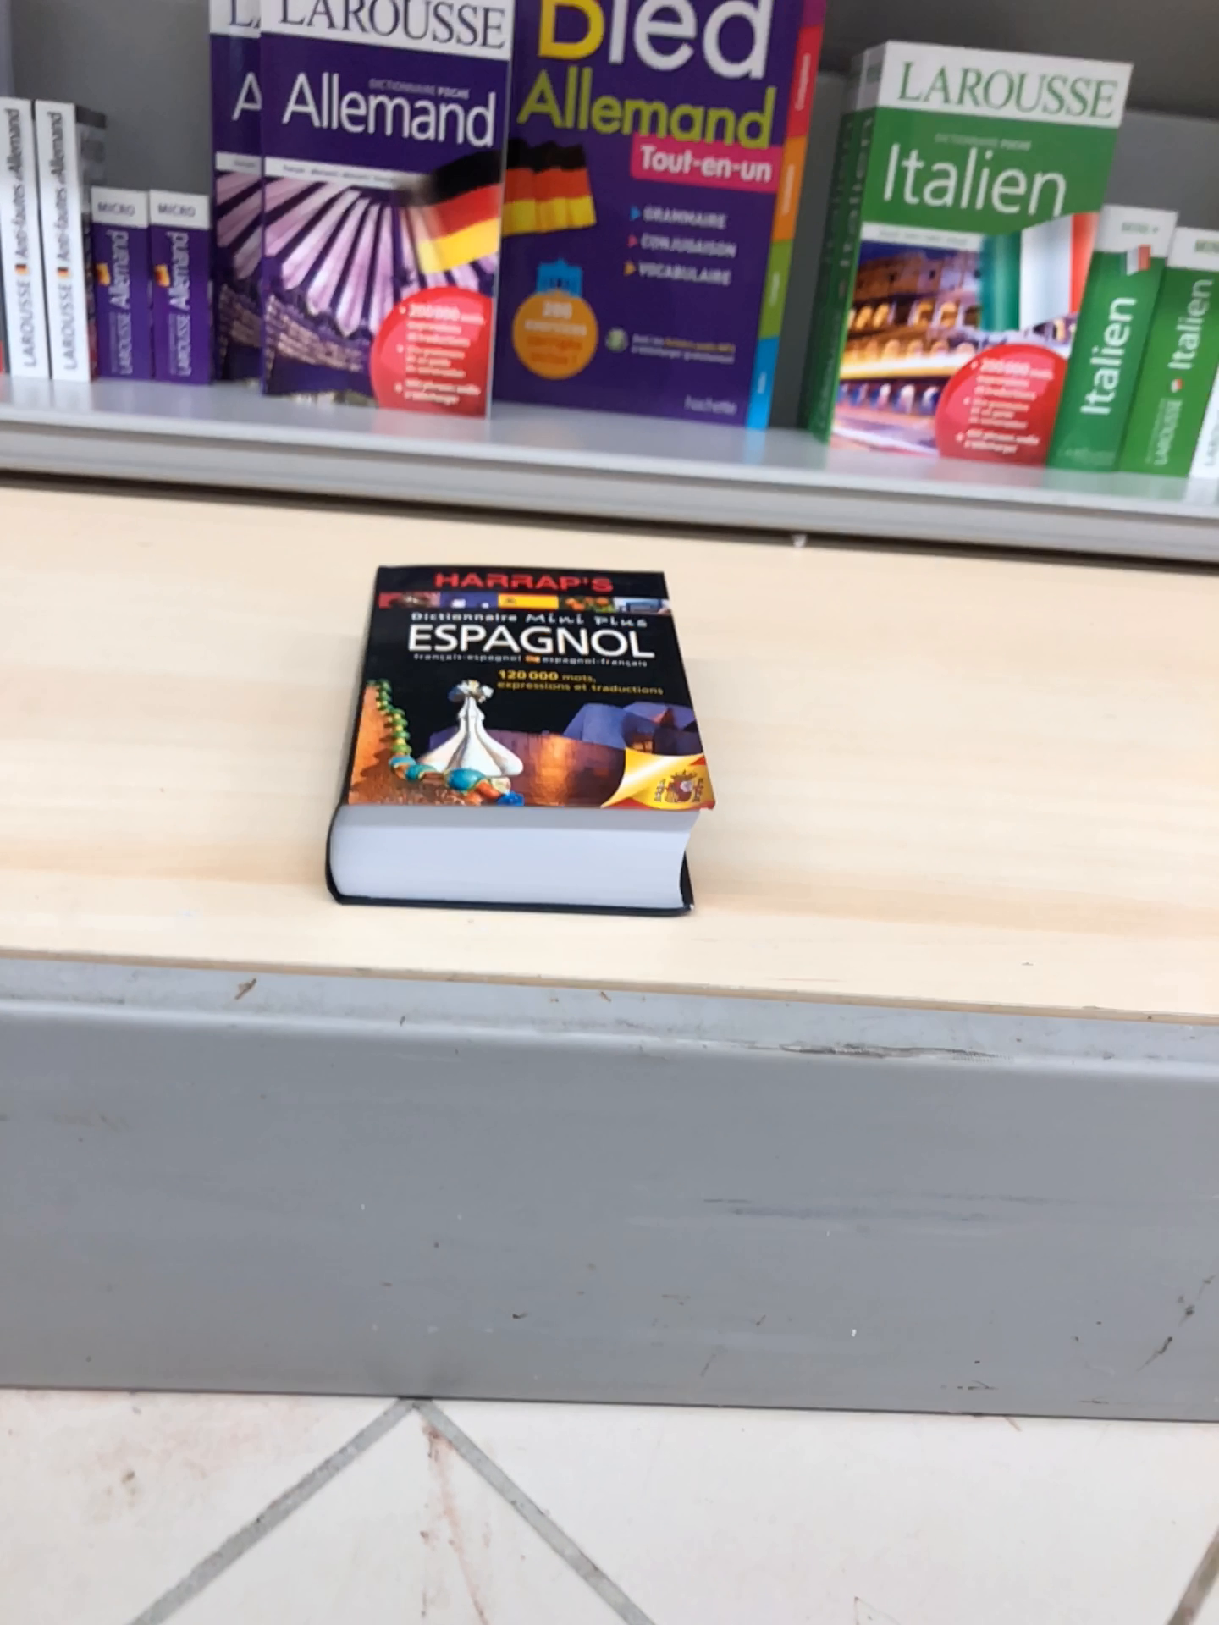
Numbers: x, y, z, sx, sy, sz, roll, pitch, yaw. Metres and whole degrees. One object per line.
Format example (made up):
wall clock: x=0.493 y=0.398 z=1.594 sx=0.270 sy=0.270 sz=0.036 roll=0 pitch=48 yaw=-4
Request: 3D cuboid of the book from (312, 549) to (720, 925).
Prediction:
book: x=-0.028 y=-0.029 z=0.412 sx=0.103 sy=0.038 sz=0.146 roll=2 pitch=35 yaw=-5
